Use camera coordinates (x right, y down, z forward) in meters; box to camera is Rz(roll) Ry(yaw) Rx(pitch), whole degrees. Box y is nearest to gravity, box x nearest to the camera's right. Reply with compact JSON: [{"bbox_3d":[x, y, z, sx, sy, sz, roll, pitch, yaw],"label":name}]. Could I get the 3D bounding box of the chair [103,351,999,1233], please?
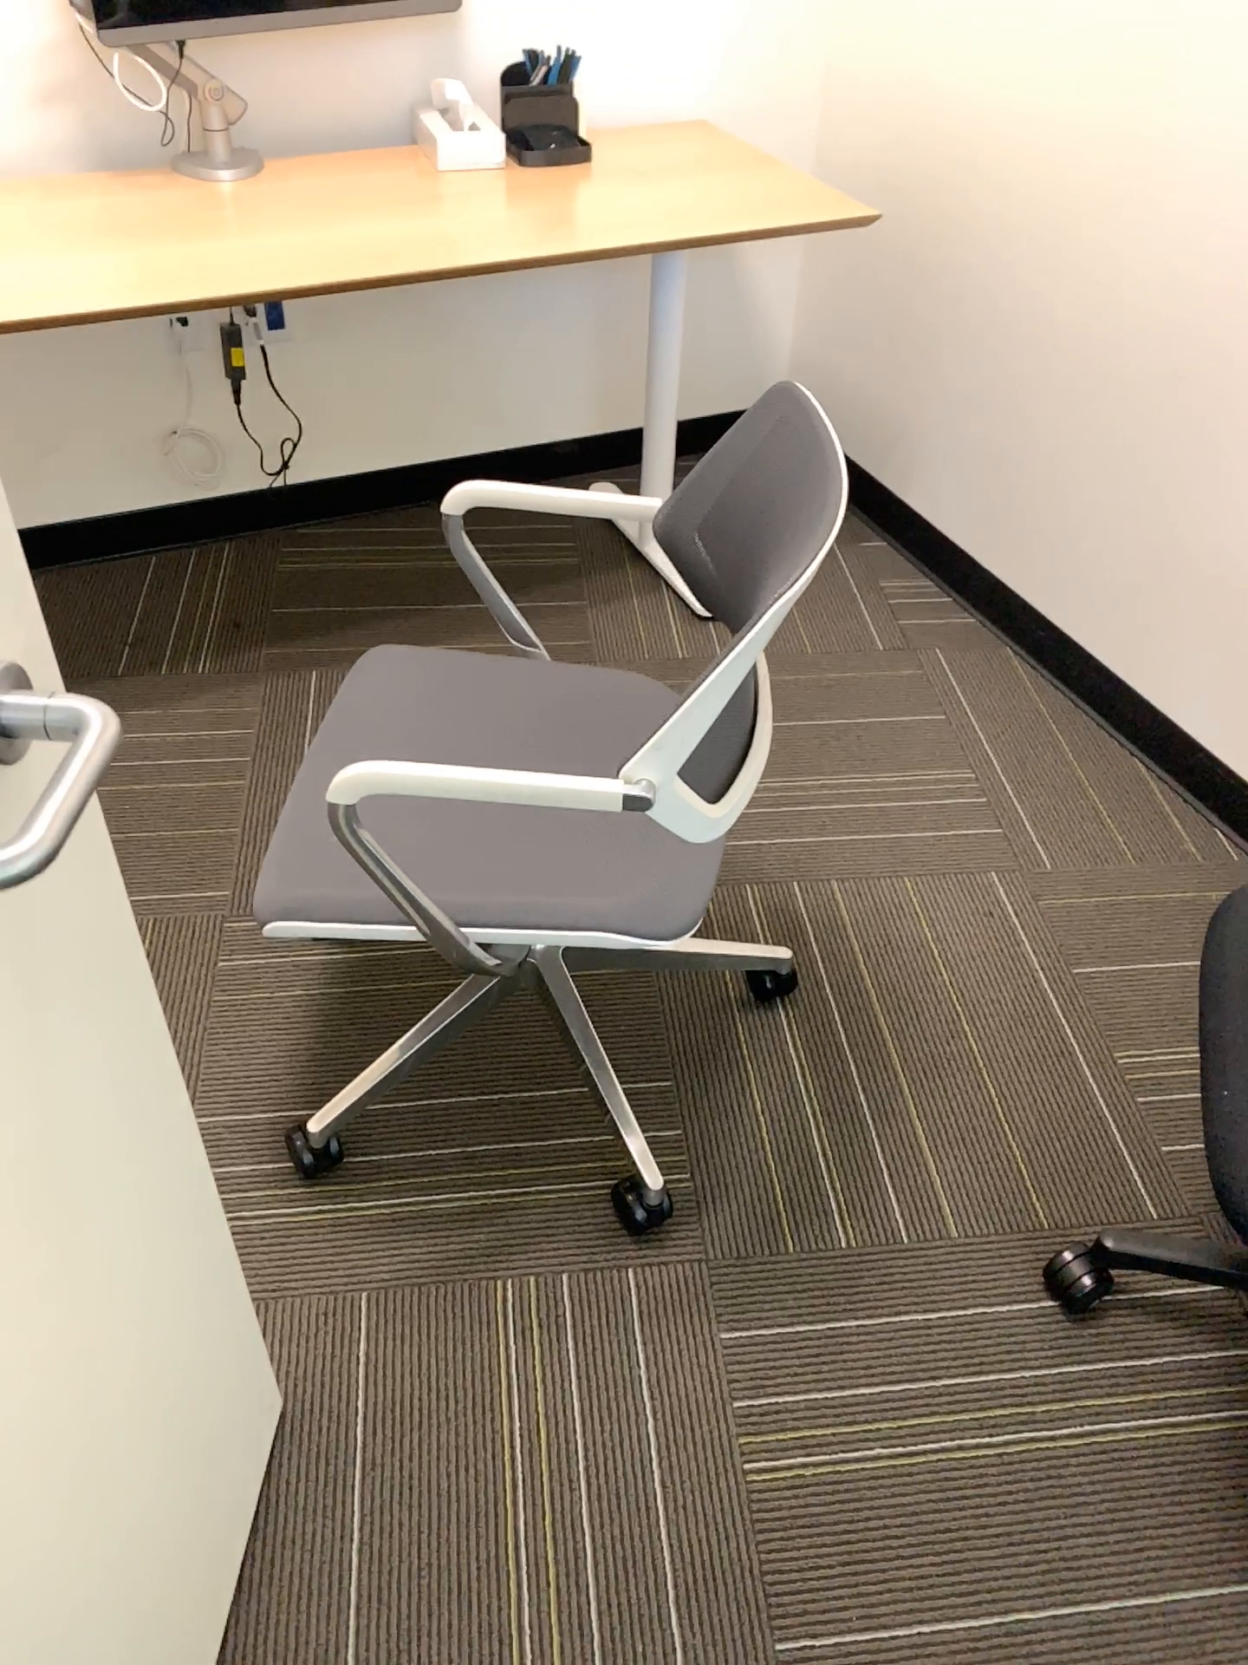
[{"bbox_3d":[-0.065,-0.029,1.268,0.590,0.666,0.553,1,42,-3],"label":"chair"}]
